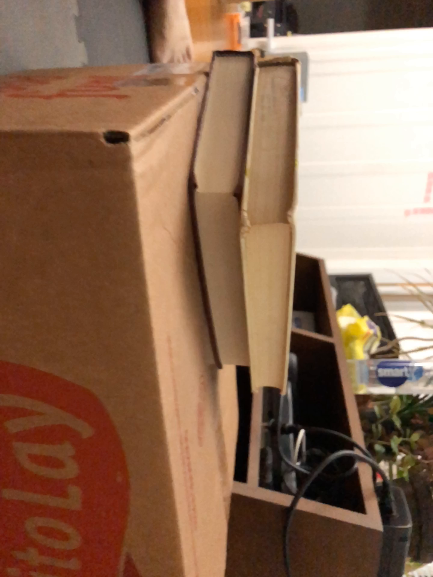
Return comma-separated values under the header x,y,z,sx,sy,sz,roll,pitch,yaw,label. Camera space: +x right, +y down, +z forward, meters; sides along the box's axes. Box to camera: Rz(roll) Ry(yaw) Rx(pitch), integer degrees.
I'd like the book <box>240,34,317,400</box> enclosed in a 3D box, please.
x,y,z,sx,sy,sz,roll,pitch,yaw,label
0.047,-0.041,0.407,0.250,0.040,0.180,84,9,-54,book

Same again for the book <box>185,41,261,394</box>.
x,y,z,sx,sy,sz,roll,pitch,yaw,label
0.016,-0.047,0.426,0.250,0.040,0.180,84,9,-52,book
